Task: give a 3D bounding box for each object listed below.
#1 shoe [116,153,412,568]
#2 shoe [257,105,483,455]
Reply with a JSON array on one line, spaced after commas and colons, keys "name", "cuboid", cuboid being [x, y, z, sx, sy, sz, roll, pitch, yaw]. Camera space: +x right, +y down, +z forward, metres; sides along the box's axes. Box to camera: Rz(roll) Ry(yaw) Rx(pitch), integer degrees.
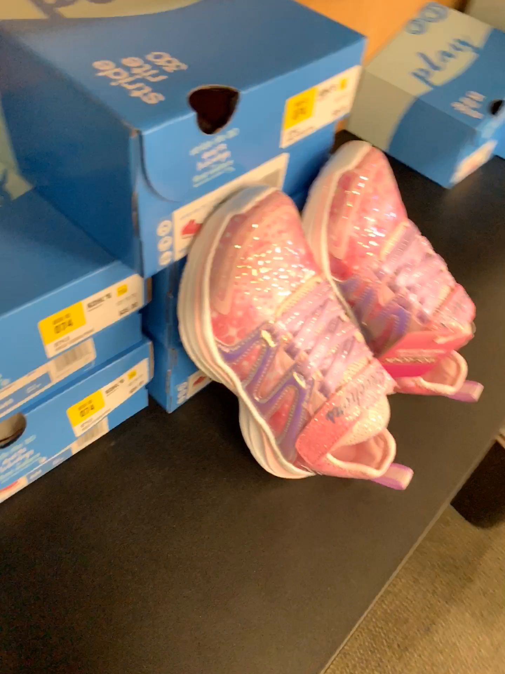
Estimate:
[{"name": "shoe", "cuboid": [0.024, 0.023, 0.288, 0.080, 0.209, 0.090, 27, 58, 39]}, {"name": "shoe", "cuboid": [0.085, -0.029, 0.337, 0.080, 0.199, 0.090, 23, 57, 36]}]
